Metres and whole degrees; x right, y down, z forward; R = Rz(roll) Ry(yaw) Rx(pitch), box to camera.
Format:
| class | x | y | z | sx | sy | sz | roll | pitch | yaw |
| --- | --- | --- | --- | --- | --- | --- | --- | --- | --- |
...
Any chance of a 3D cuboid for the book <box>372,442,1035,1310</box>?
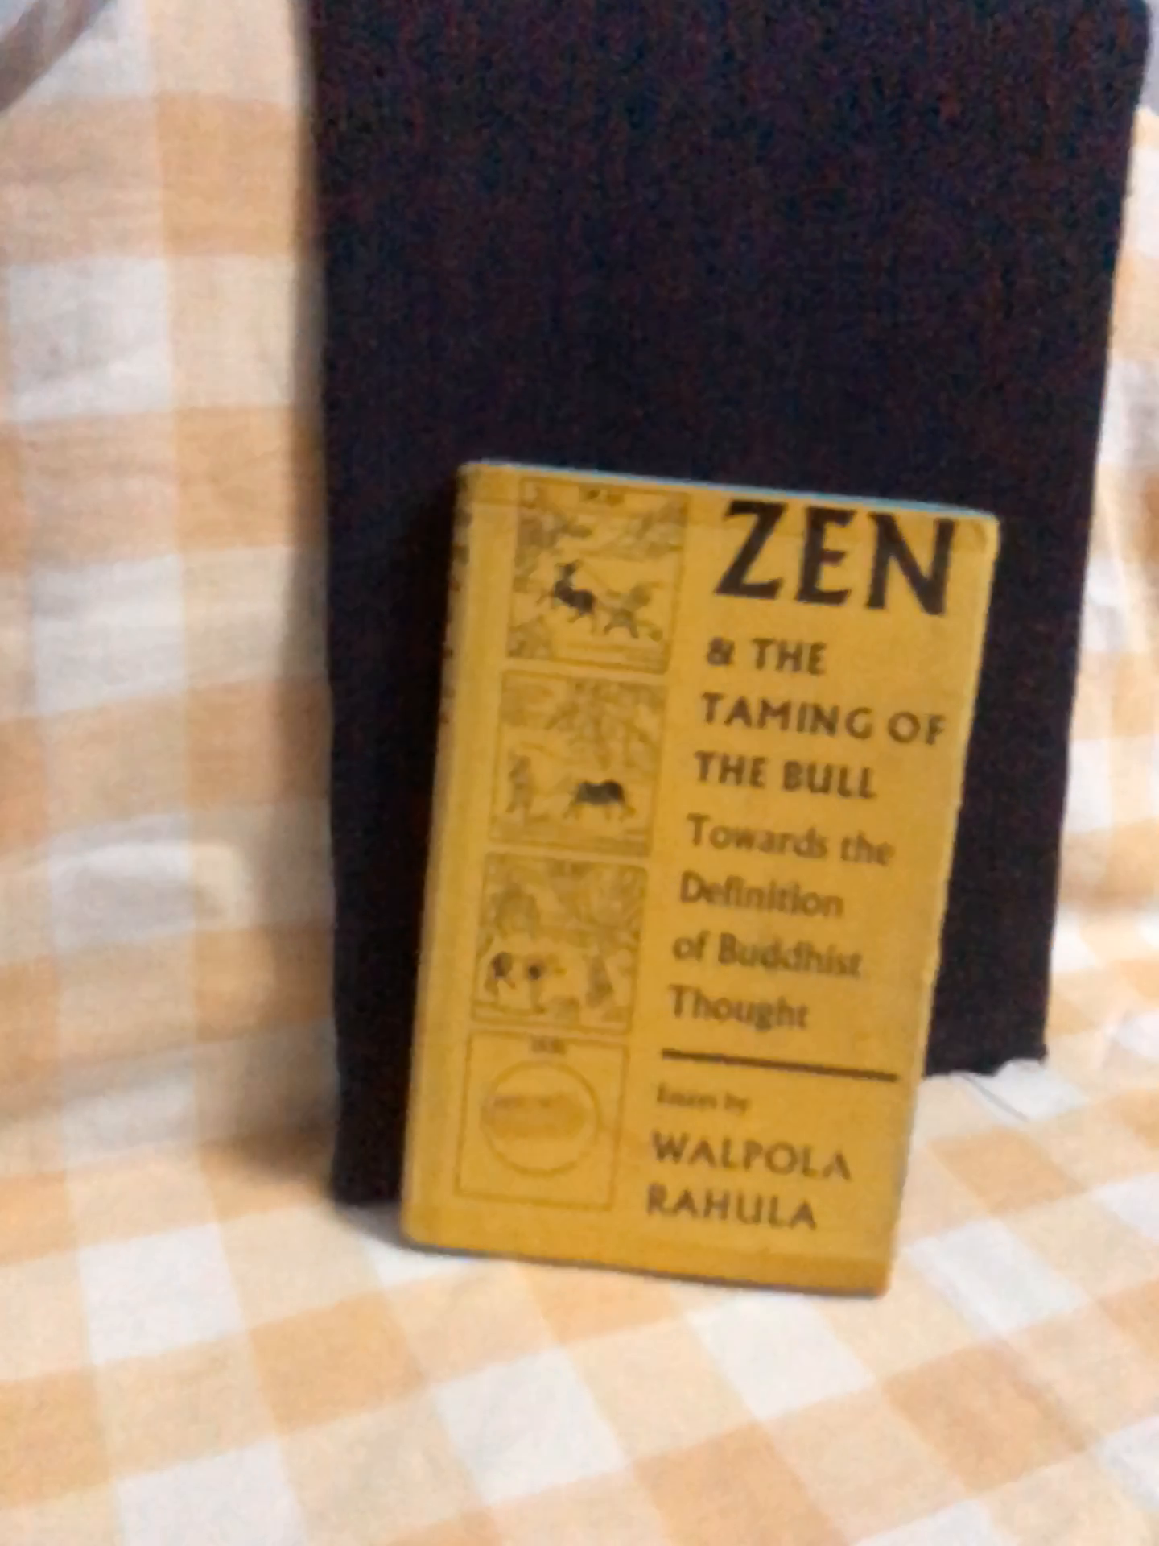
| class | x | y | z | sx | sy | sz | roll | pitch | yaw |
| --- | --- | --- | --- | --- | --- | --- | --- | --- | --- |
| book | 0.027 | 0.030 | 0.333 | 0.140 | 0.210 | 0.030 | 7 | 9 | -1 |
